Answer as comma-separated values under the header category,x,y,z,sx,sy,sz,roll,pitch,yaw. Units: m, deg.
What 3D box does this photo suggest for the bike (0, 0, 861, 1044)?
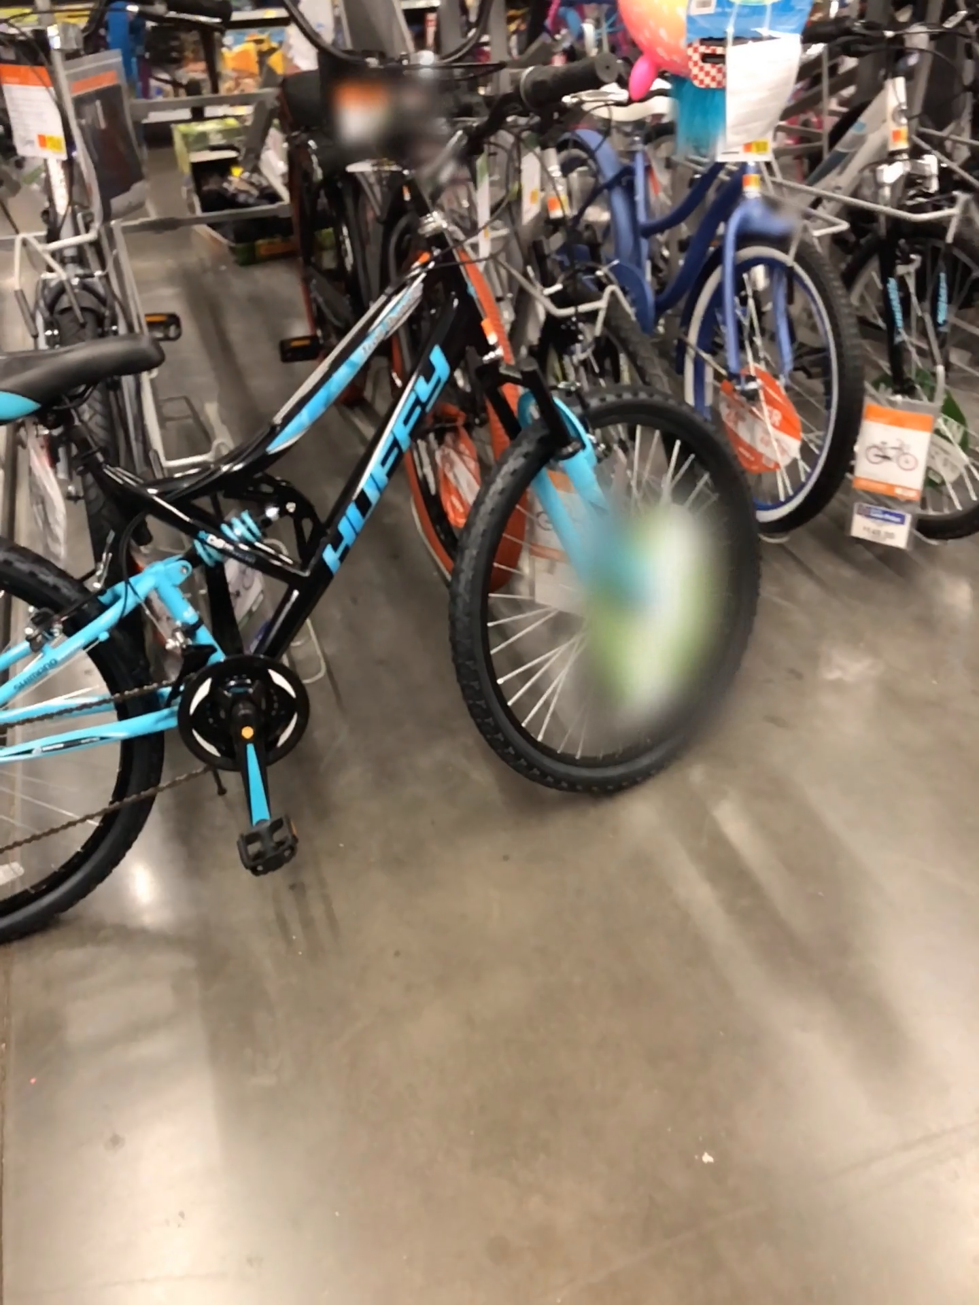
category,x,y,z,sx,sy,sz,roll,pitch,yaw
bike,-0.358,-0.315,1.647,1.707,1.120,0.546,-17,39,-18
